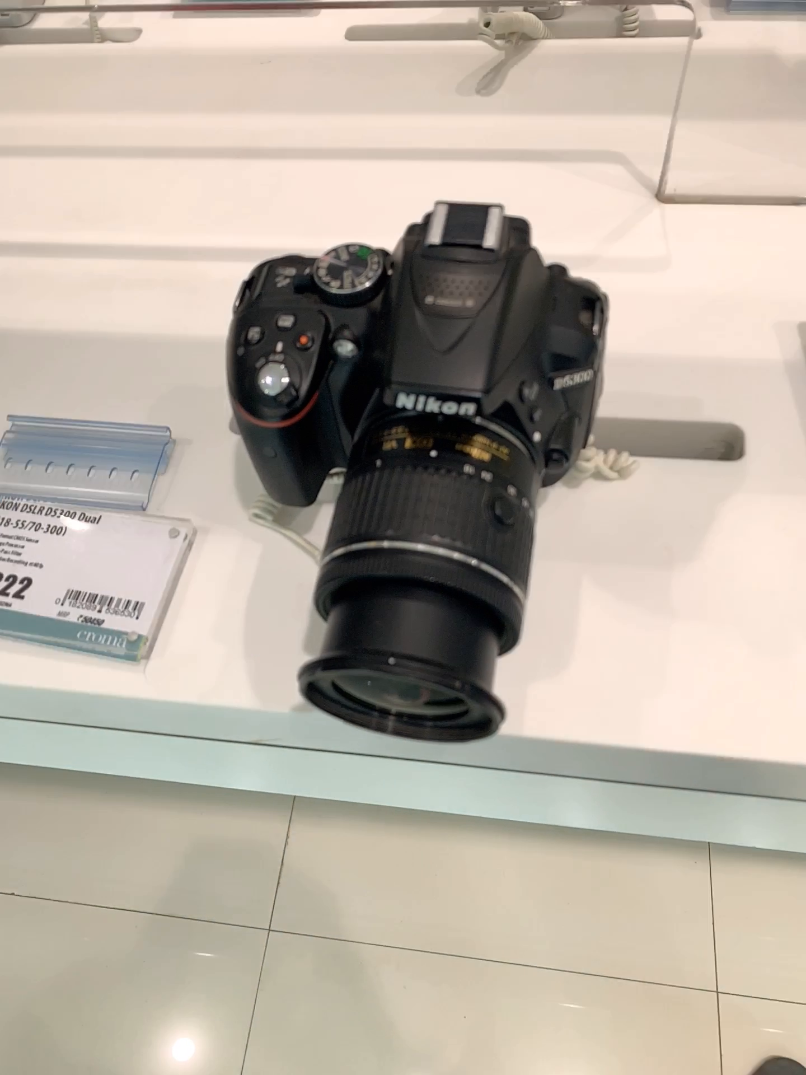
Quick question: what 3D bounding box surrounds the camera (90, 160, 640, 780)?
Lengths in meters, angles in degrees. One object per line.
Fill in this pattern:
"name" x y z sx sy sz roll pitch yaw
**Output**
"camera" 0.003 -0.020 0.252 0.110 0.110 0.140 7 60 10
